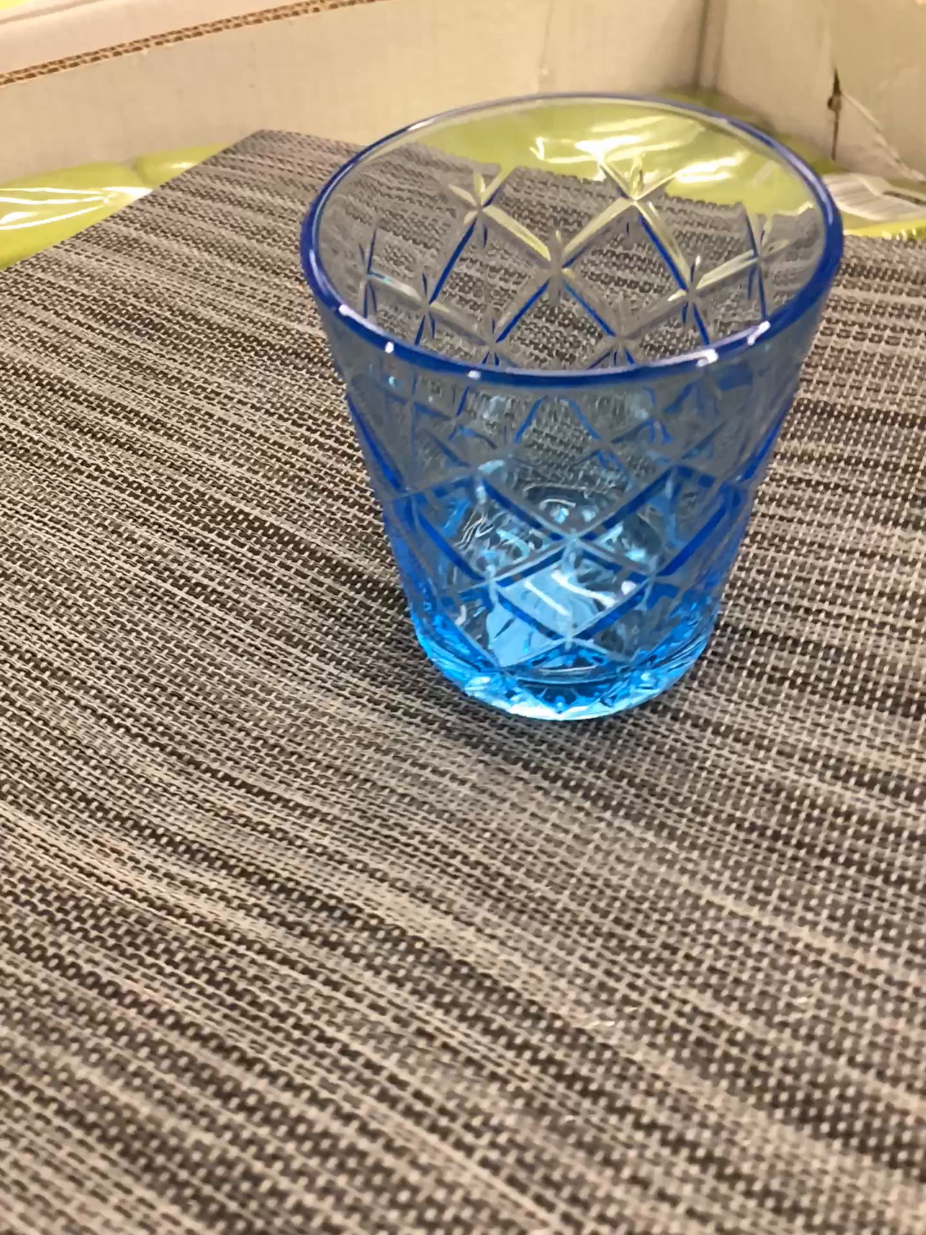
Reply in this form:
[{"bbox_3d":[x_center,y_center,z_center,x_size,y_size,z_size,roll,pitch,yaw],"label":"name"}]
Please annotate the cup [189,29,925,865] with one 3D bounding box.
[{"bbox_3d":[0.022,-0.033,0.182,0.090,0.090,0.080,-34,54,-24],"label":"cup"}]
